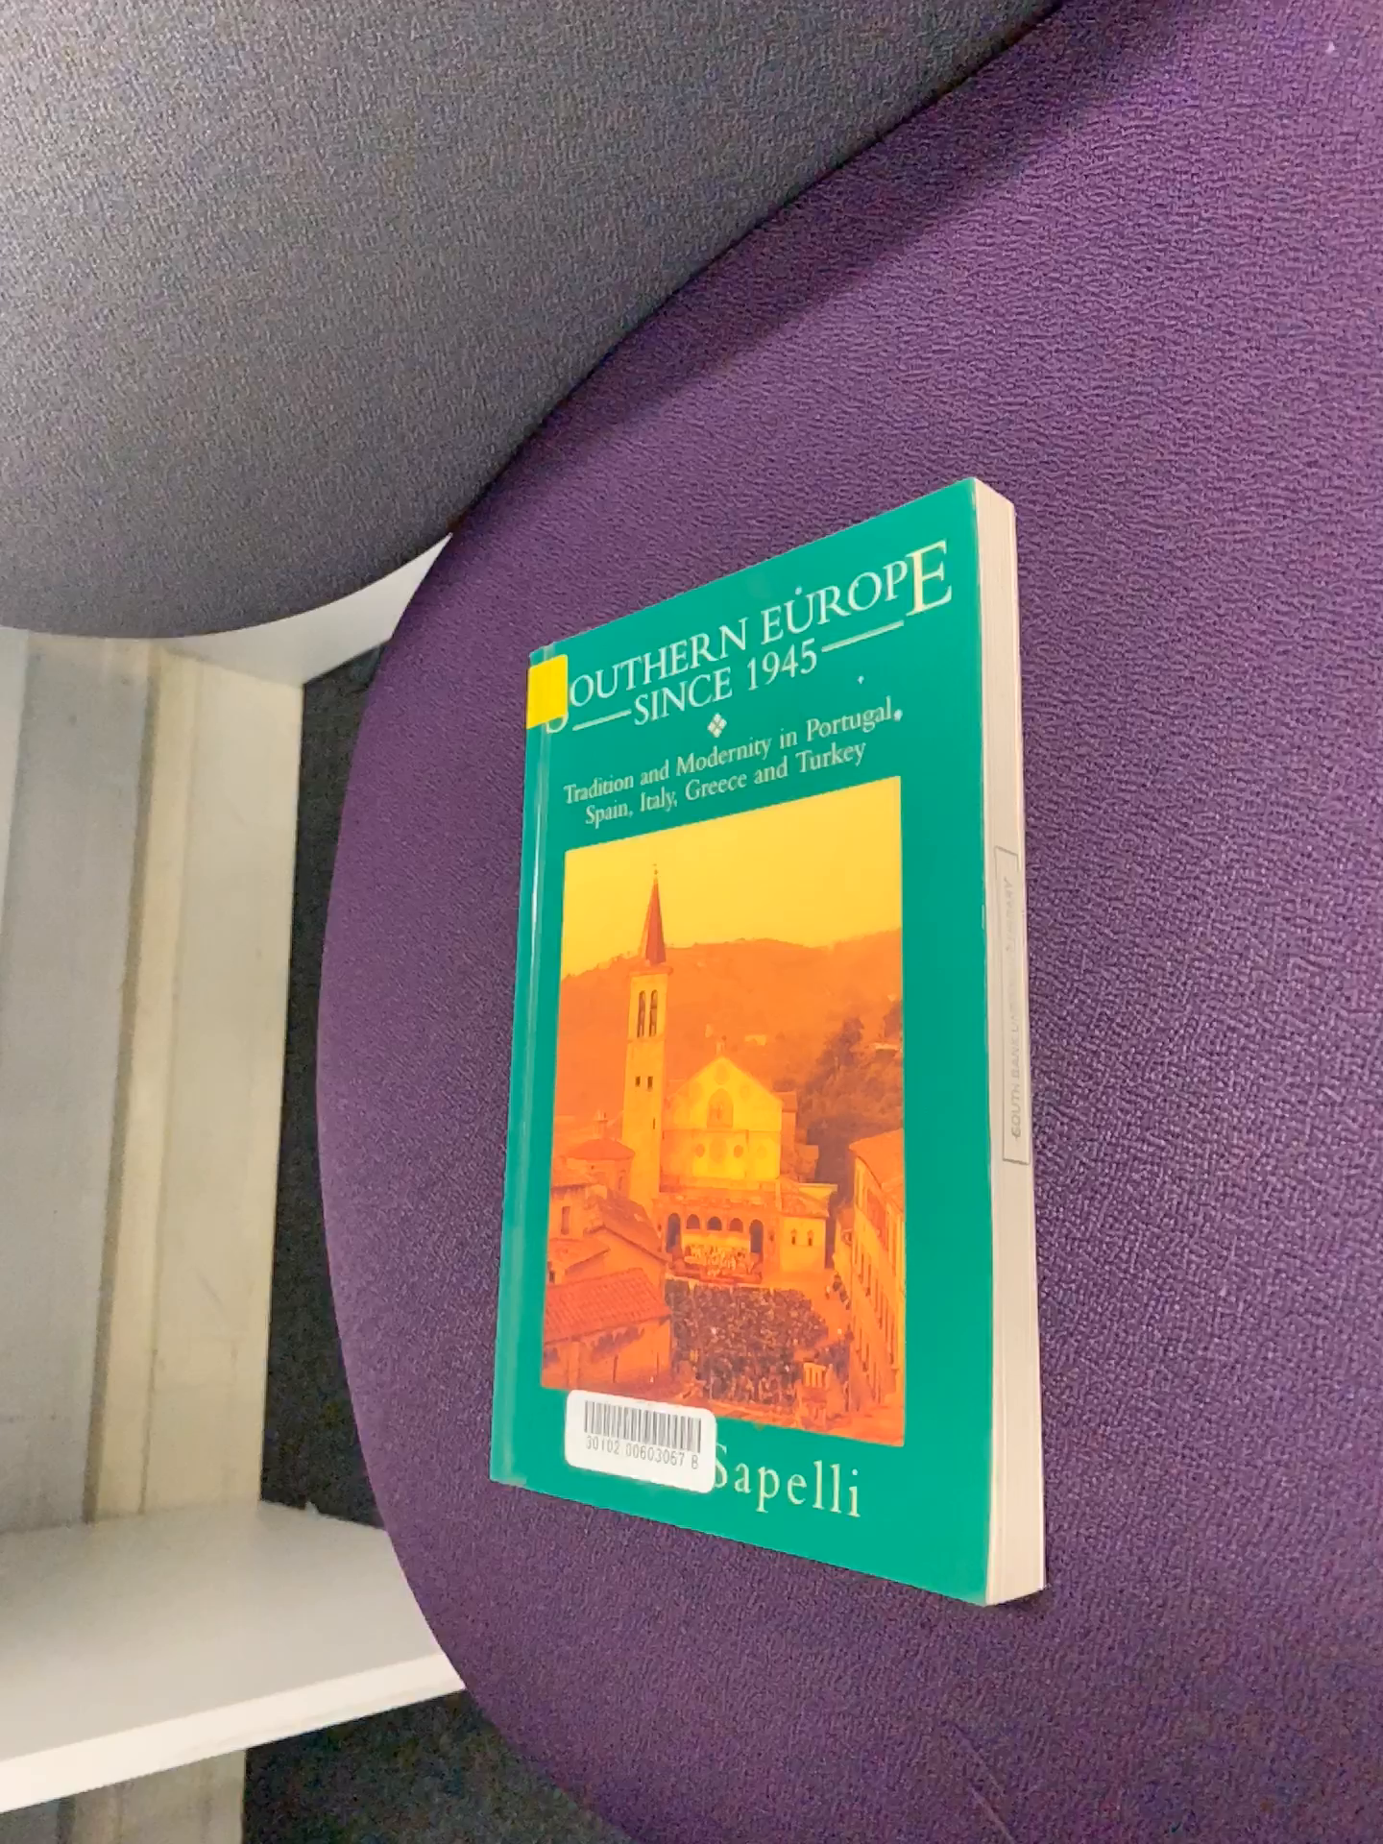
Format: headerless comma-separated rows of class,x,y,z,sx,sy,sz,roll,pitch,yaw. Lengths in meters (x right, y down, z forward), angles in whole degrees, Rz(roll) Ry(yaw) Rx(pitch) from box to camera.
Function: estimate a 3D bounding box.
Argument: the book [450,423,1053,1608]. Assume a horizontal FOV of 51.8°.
book,0.005,0.019,0.324,0.154,0.020,0.221,-9,75,43
